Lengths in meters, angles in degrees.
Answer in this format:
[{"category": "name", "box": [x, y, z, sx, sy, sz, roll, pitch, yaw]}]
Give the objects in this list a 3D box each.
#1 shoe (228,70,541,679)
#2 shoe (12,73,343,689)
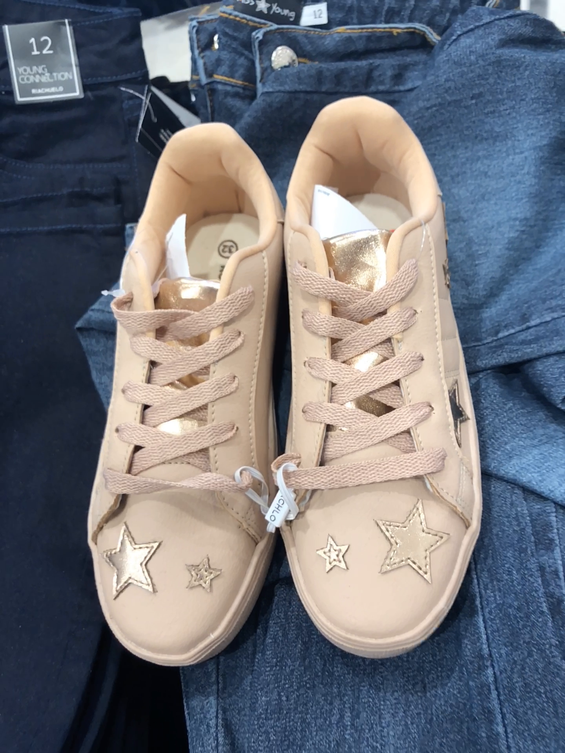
[{"category": "shoe", "box": [0.038, -0.007, 0.281, 0.090, 0.090, 0.251, -6, 61, 12]}, {"category": "shoe", "box": [-0.029, -0.003, 0.292, 0.090, 0.090, 0.251, -1, 68, 15]}]
